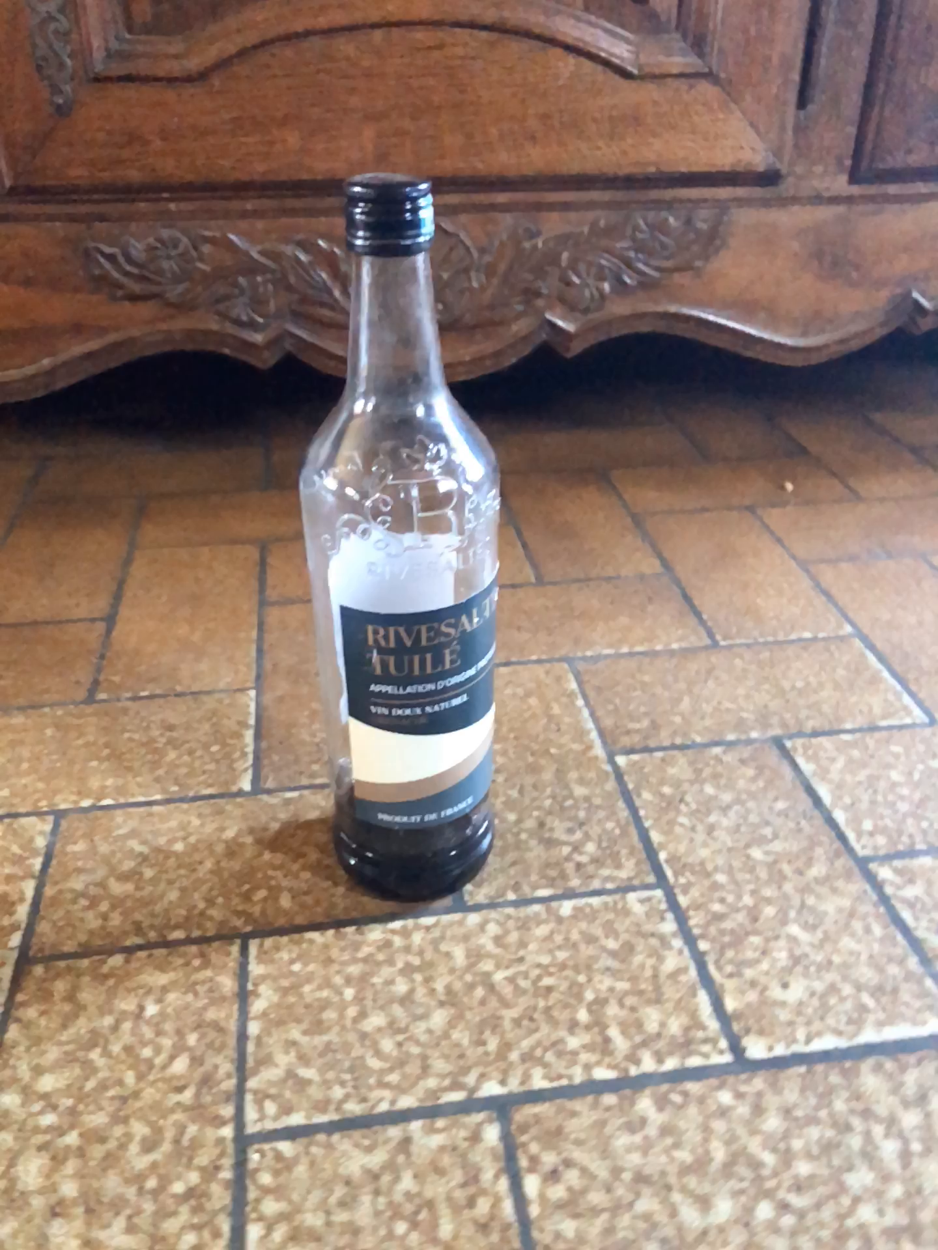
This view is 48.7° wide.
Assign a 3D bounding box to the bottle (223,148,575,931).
[{"bbox_3d":[-0.027,-0.026,0.427,0.090,0.298,0.090,0,31,0],"label":"bottle"}]
